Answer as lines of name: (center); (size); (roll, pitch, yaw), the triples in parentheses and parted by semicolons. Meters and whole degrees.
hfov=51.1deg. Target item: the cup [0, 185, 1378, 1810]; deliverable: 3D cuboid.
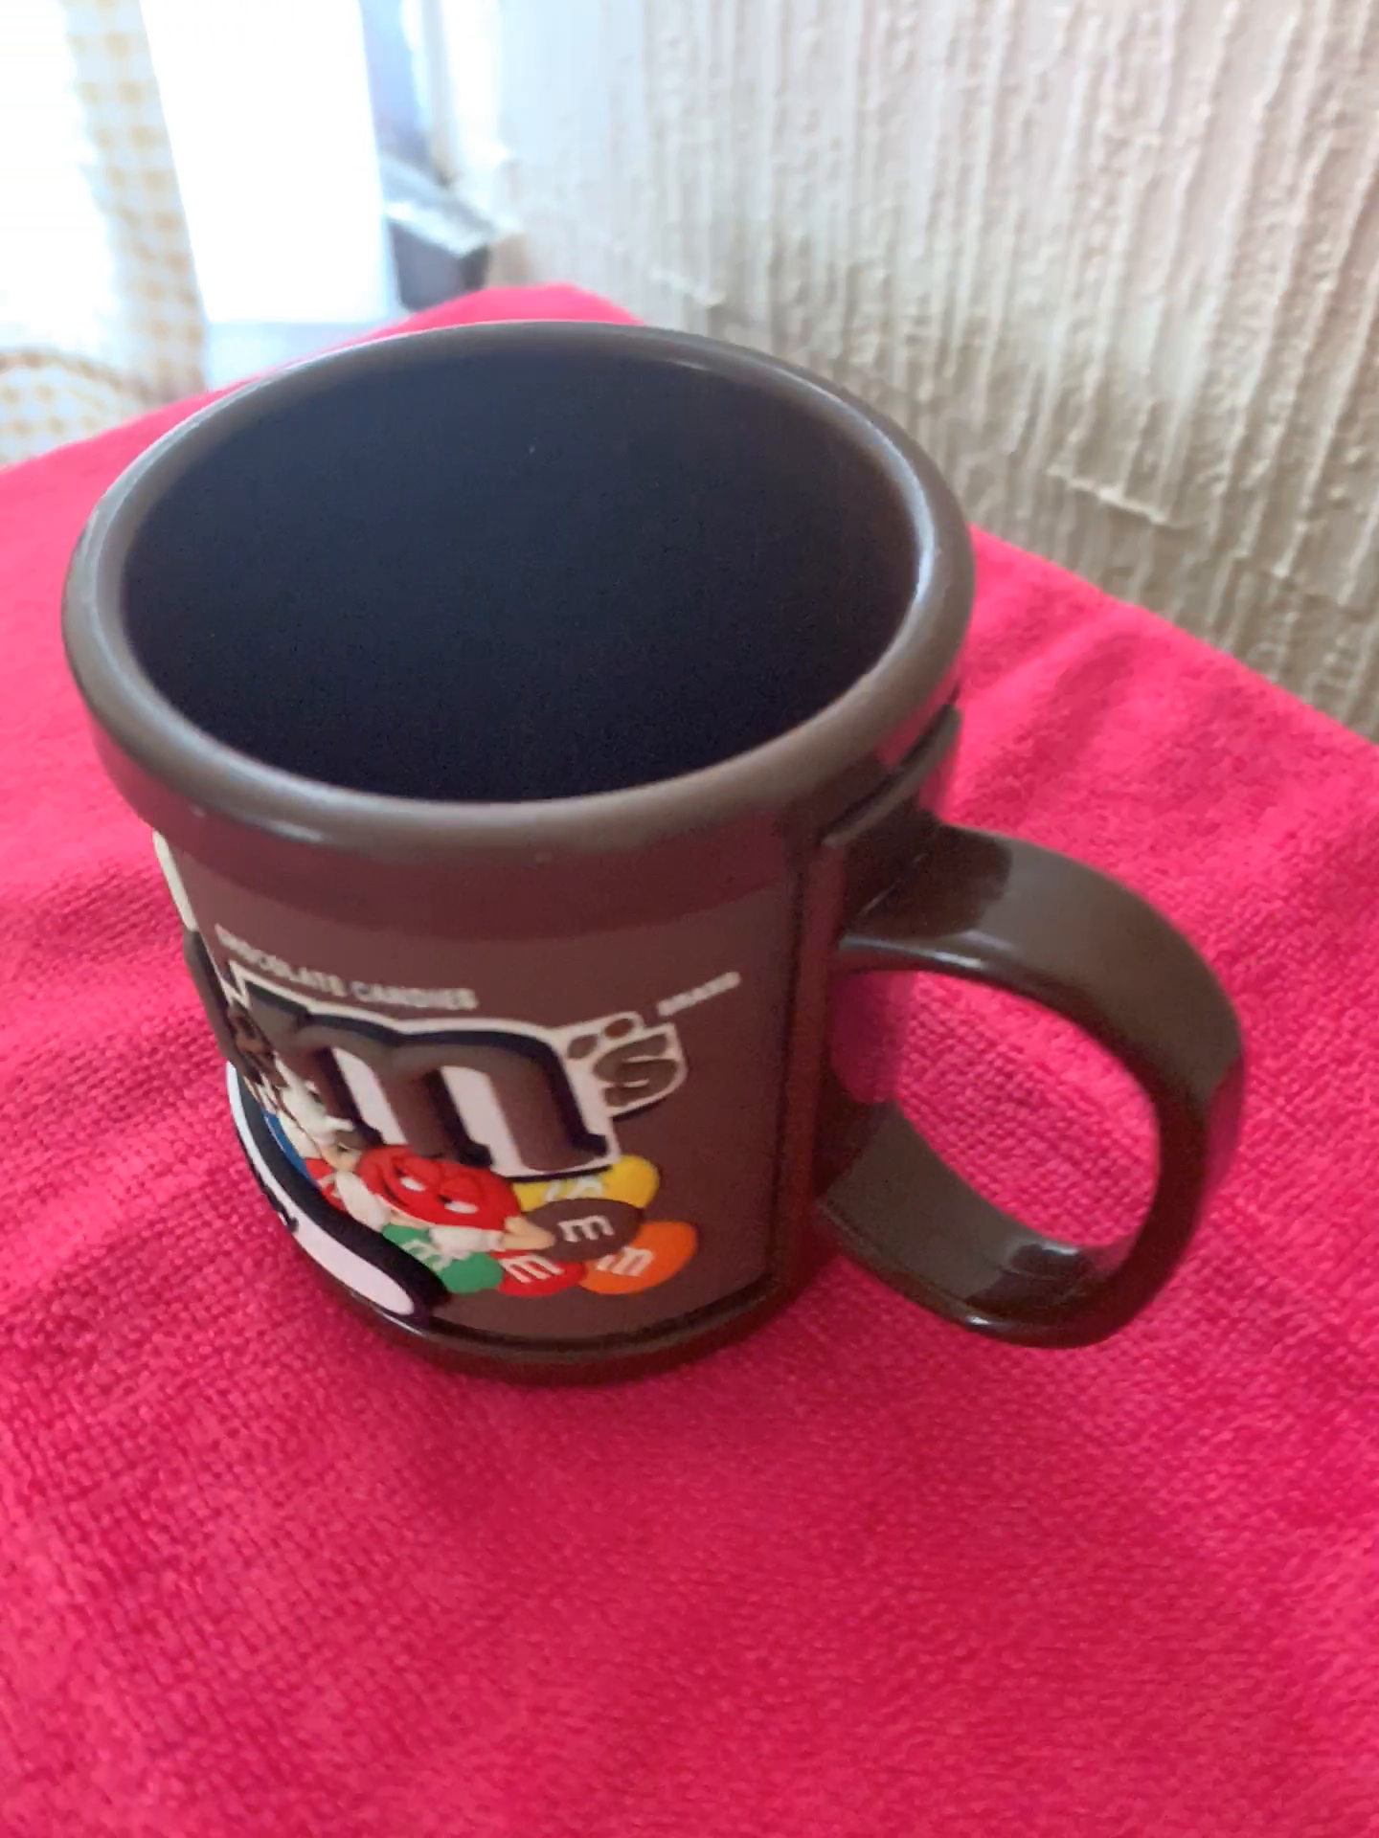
cup: (0.004, 0.002, 0.154); (0.120, 0.099, 0.091); (27, 53, 23)
